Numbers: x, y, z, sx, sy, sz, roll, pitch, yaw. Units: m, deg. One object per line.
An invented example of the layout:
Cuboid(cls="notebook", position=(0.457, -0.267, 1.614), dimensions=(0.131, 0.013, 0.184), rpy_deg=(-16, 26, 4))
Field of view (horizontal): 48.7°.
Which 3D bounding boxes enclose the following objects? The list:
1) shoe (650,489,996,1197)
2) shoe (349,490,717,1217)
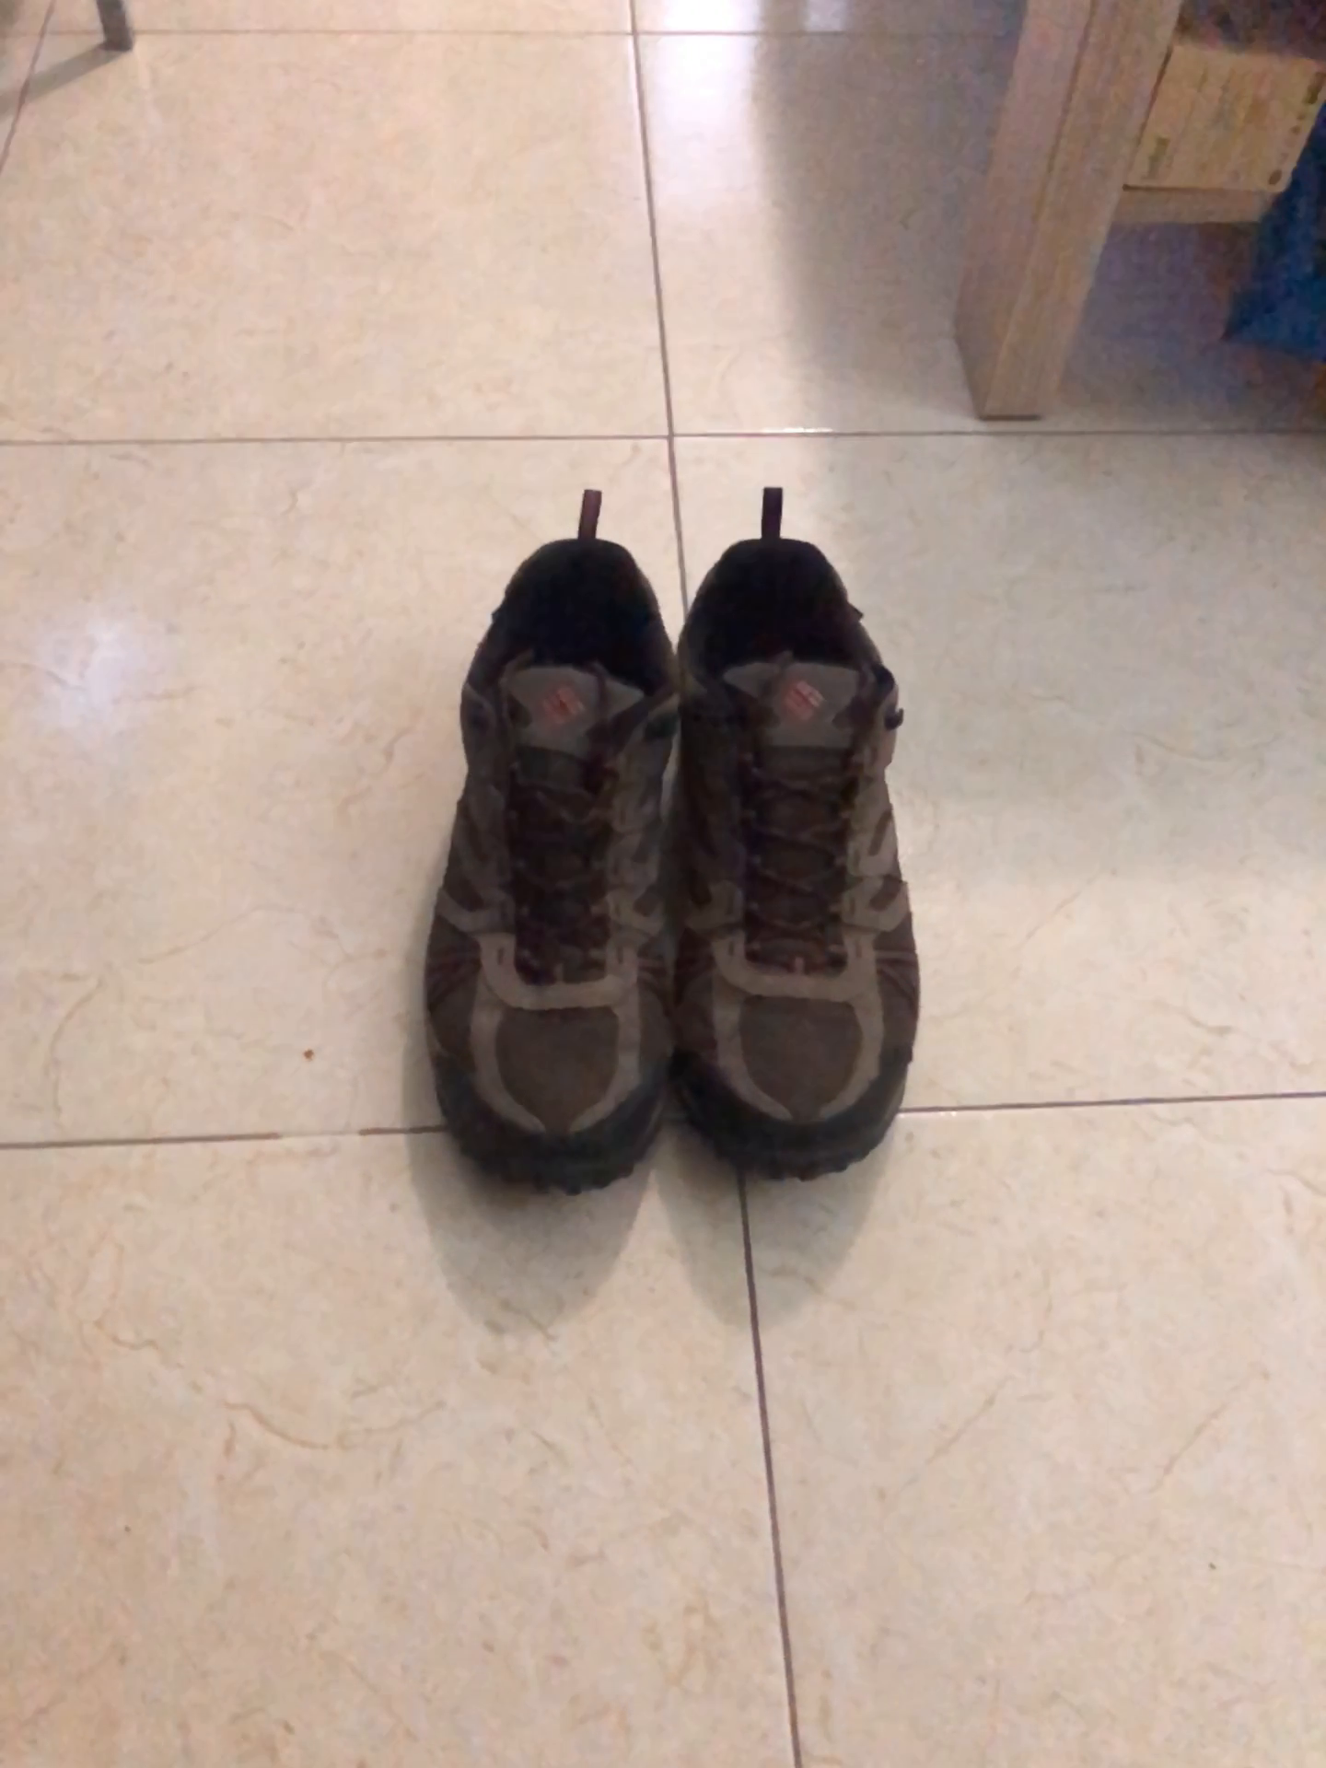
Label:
Cuboid(cls="shoe", position=(0.058, -0.027, 0.675), dimensions=(0.120, 0.120, 0.311), rpy_deg=(0, 57, -2))
Cuboid(cls="shoe", position=(-0.048, -0.022, 0.650), dimensions=(0.130, 0.110, 0.311), rpy_deg=(1, 57, -2))
